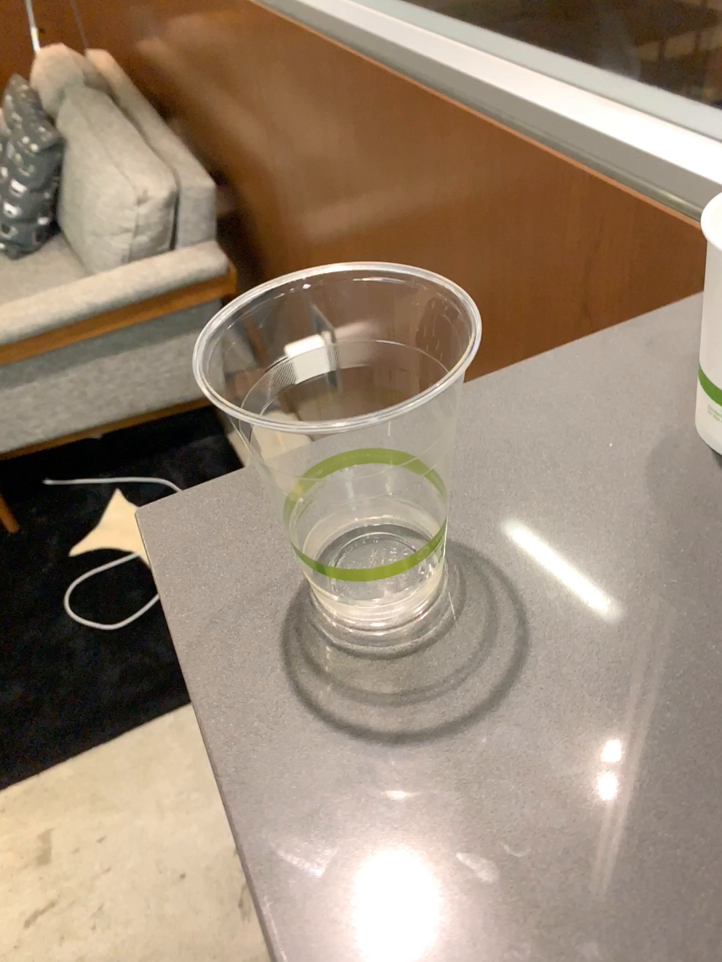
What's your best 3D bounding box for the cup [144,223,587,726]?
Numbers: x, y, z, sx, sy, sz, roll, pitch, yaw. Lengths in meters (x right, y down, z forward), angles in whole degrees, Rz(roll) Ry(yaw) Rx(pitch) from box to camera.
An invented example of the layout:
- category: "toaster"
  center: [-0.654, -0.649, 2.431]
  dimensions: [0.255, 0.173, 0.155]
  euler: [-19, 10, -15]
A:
- category: "cup"
  center: [0.003, -0.005, 0.273]
  dimensions: [0.100, 0.119, 0.101]
  euler: [-4, 43, 4]
